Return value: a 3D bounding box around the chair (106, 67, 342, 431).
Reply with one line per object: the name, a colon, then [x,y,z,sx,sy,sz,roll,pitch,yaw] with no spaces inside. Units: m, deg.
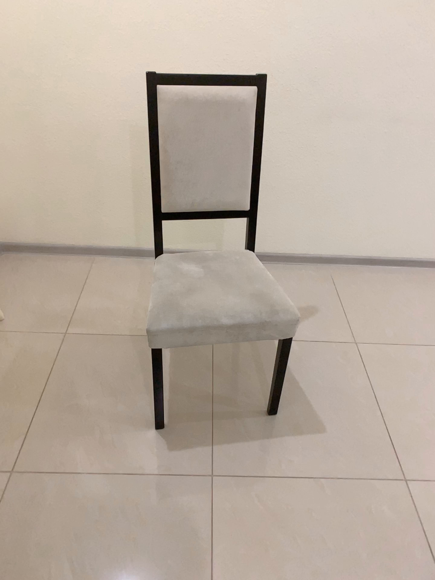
chair: [-0.025,-0.108,1.377,0.480,0.964,0.513,-5,36,-8]
